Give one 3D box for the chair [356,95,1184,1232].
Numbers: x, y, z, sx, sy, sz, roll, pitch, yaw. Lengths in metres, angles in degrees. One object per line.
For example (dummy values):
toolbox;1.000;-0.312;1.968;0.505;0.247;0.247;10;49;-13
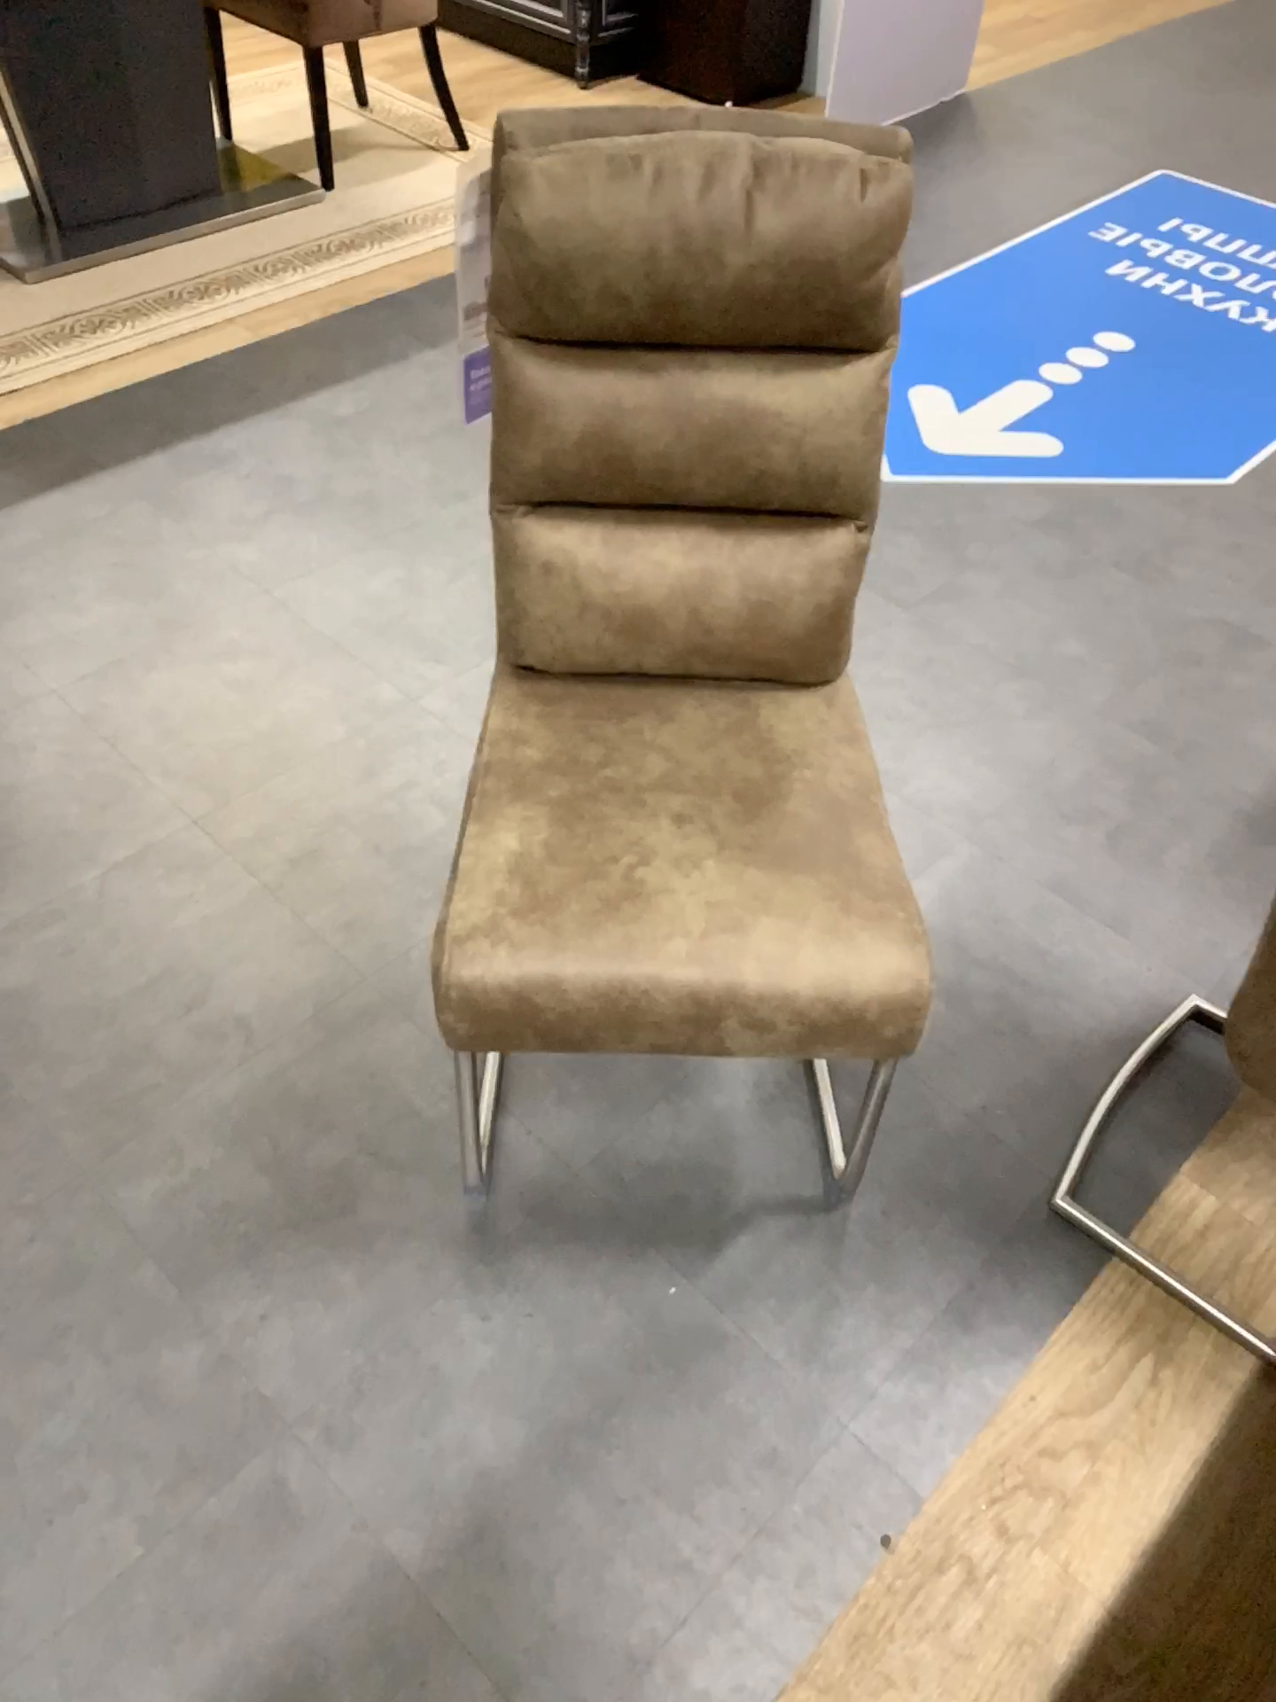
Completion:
chair;0.059;-0.124;1.344;0.500;0.995;0.603;1;46;-2
